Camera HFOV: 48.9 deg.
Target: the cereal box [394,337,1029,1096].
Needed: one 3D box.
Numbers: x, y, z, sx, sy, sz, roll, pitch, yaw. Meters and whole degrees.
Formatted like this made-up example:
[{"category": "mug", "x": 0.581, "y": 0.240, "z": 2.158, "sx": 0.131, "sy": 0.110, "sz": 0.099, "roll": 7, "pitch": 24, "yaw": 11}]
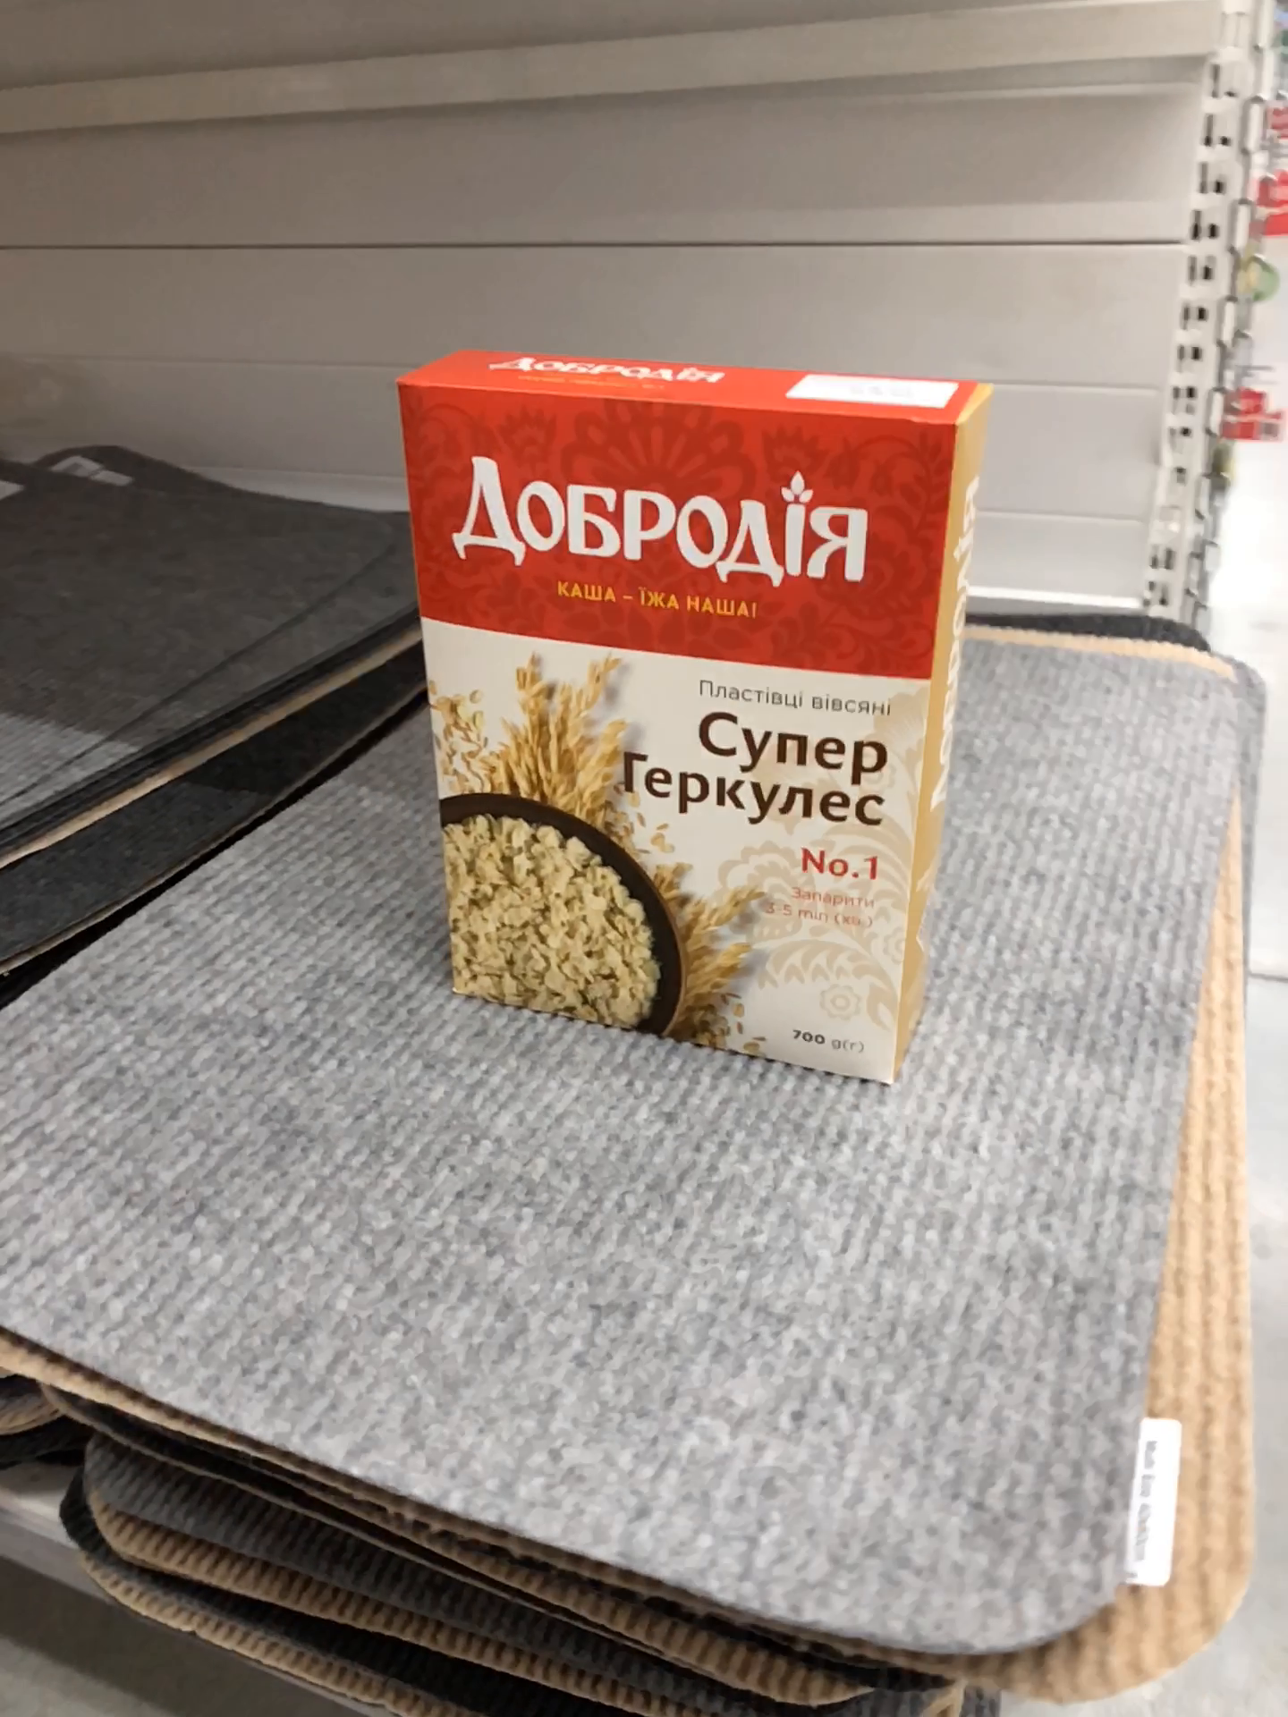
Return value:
[{"category": "cereal box", "x": 0.021, "y": -0.047, "z": 0.479, "sx": 0.180, "sy": 0.228, "sz": 0.060, "roll": 9, "pitch": 31, "yaw": 18}]
